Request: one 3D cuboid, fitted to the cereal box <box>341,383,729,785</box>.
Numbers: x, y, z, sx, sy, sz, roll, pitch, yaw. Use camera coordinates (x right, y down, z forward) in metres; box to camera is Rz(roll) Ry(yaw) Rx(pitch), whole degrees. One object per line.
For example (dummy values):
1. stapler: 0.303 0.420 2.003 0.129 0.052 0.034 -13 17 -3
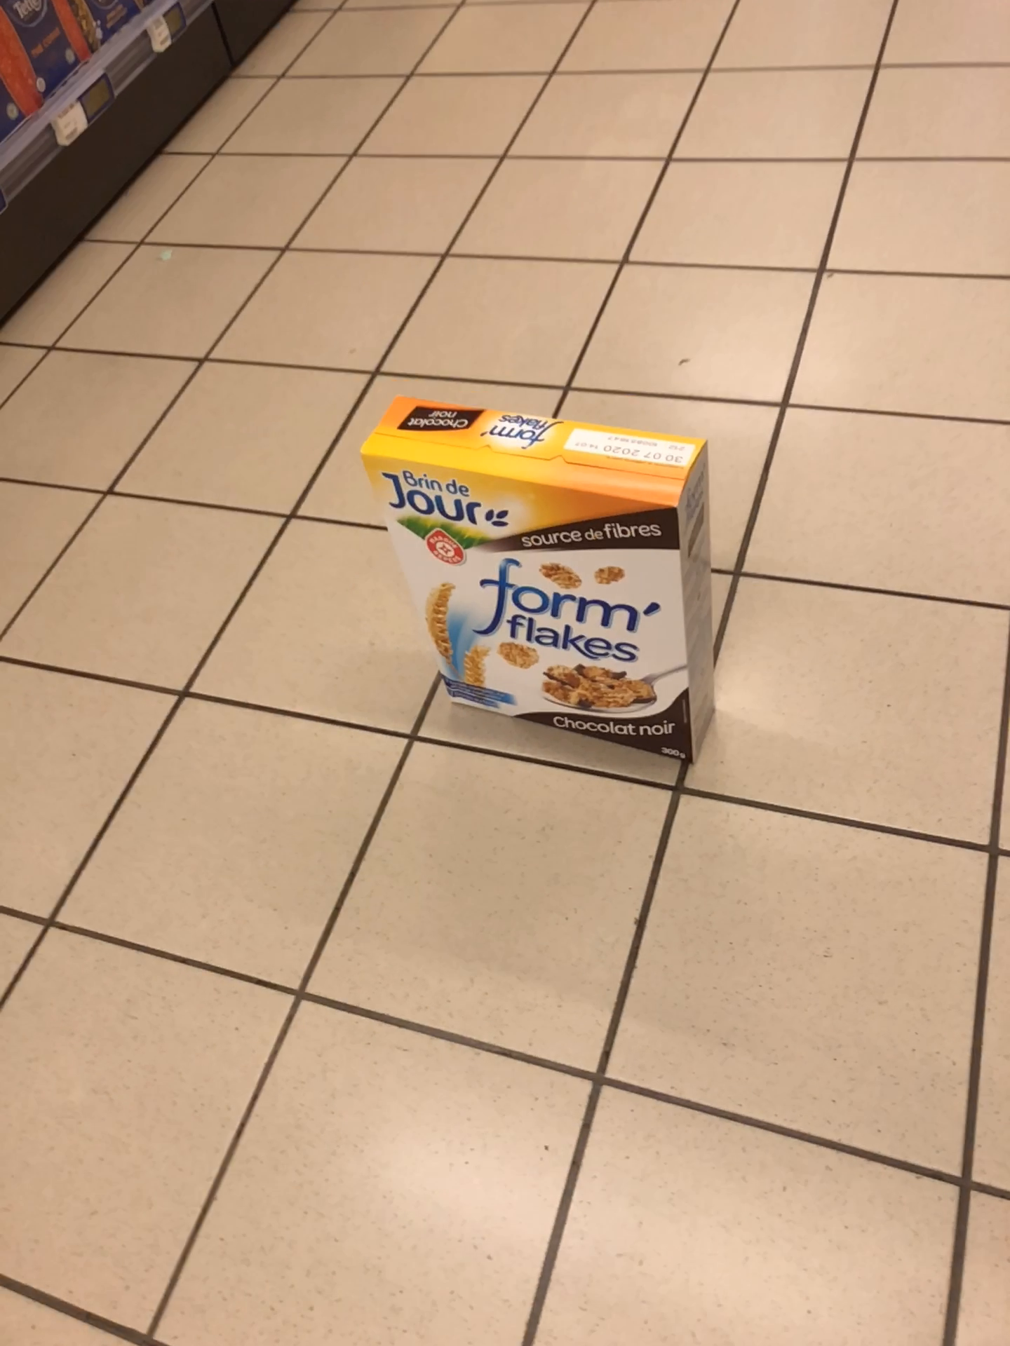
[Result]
1. cereal box: 0.033 -0.049 0.703 0.200 0.249 0.070 13 56 21
